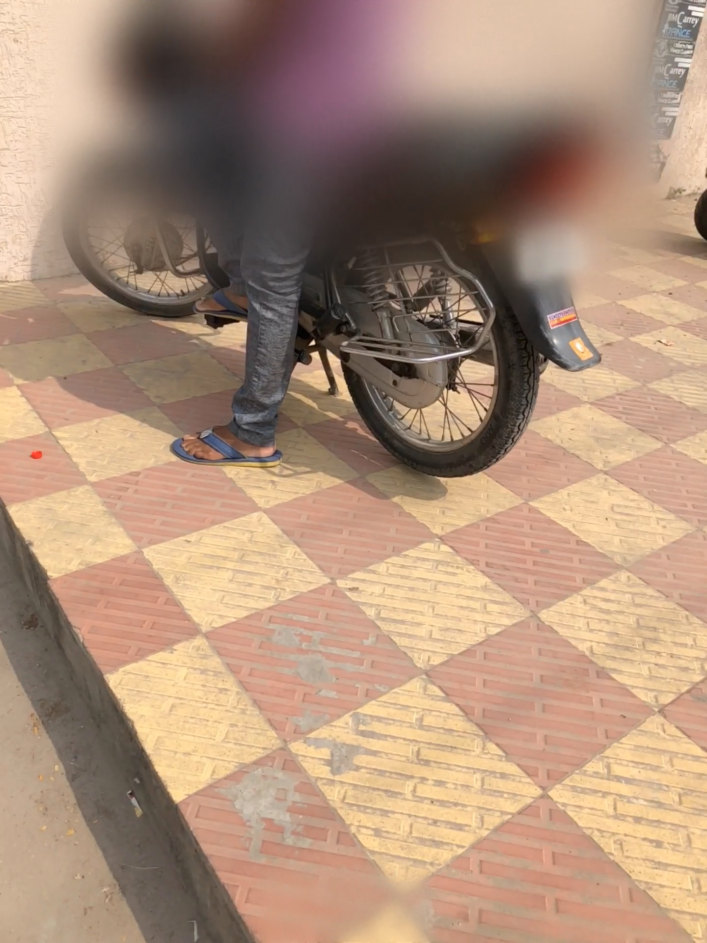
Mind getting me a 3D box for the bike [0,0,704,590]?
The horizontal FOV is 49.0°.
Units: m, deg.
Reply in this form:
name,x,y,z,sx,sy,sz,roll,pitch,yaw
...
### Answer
name,x,y,z,sx,sy,sz,roll,pitch,yaw
bike,-0.312,-0.686,2.002,1.722,1.066,0.897,26,37,30
